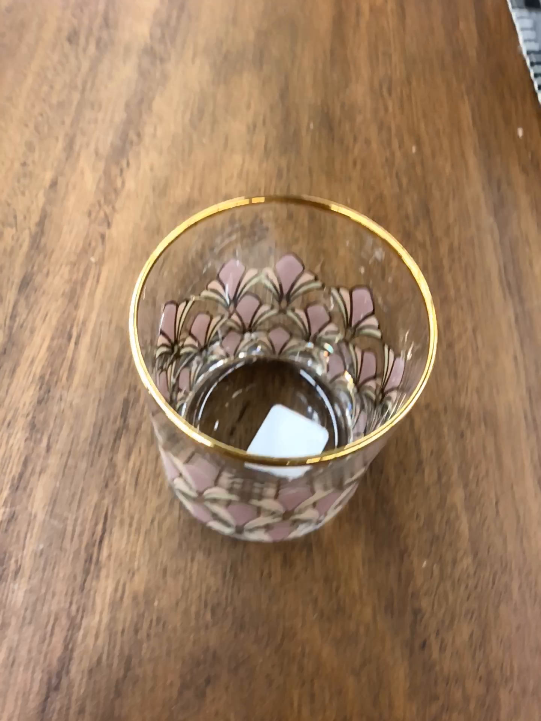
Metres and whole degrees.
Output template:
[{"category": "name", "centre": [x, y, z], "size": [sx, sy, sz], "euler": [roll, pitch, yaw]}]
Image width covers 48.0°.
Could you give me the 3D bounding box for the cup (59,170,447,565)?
[{"category": "cup", "centre": [-0.002, 0.009, 0.188], "size": [0.083, 0.090, 0.080], "euler": [1, 63, -3]}]
